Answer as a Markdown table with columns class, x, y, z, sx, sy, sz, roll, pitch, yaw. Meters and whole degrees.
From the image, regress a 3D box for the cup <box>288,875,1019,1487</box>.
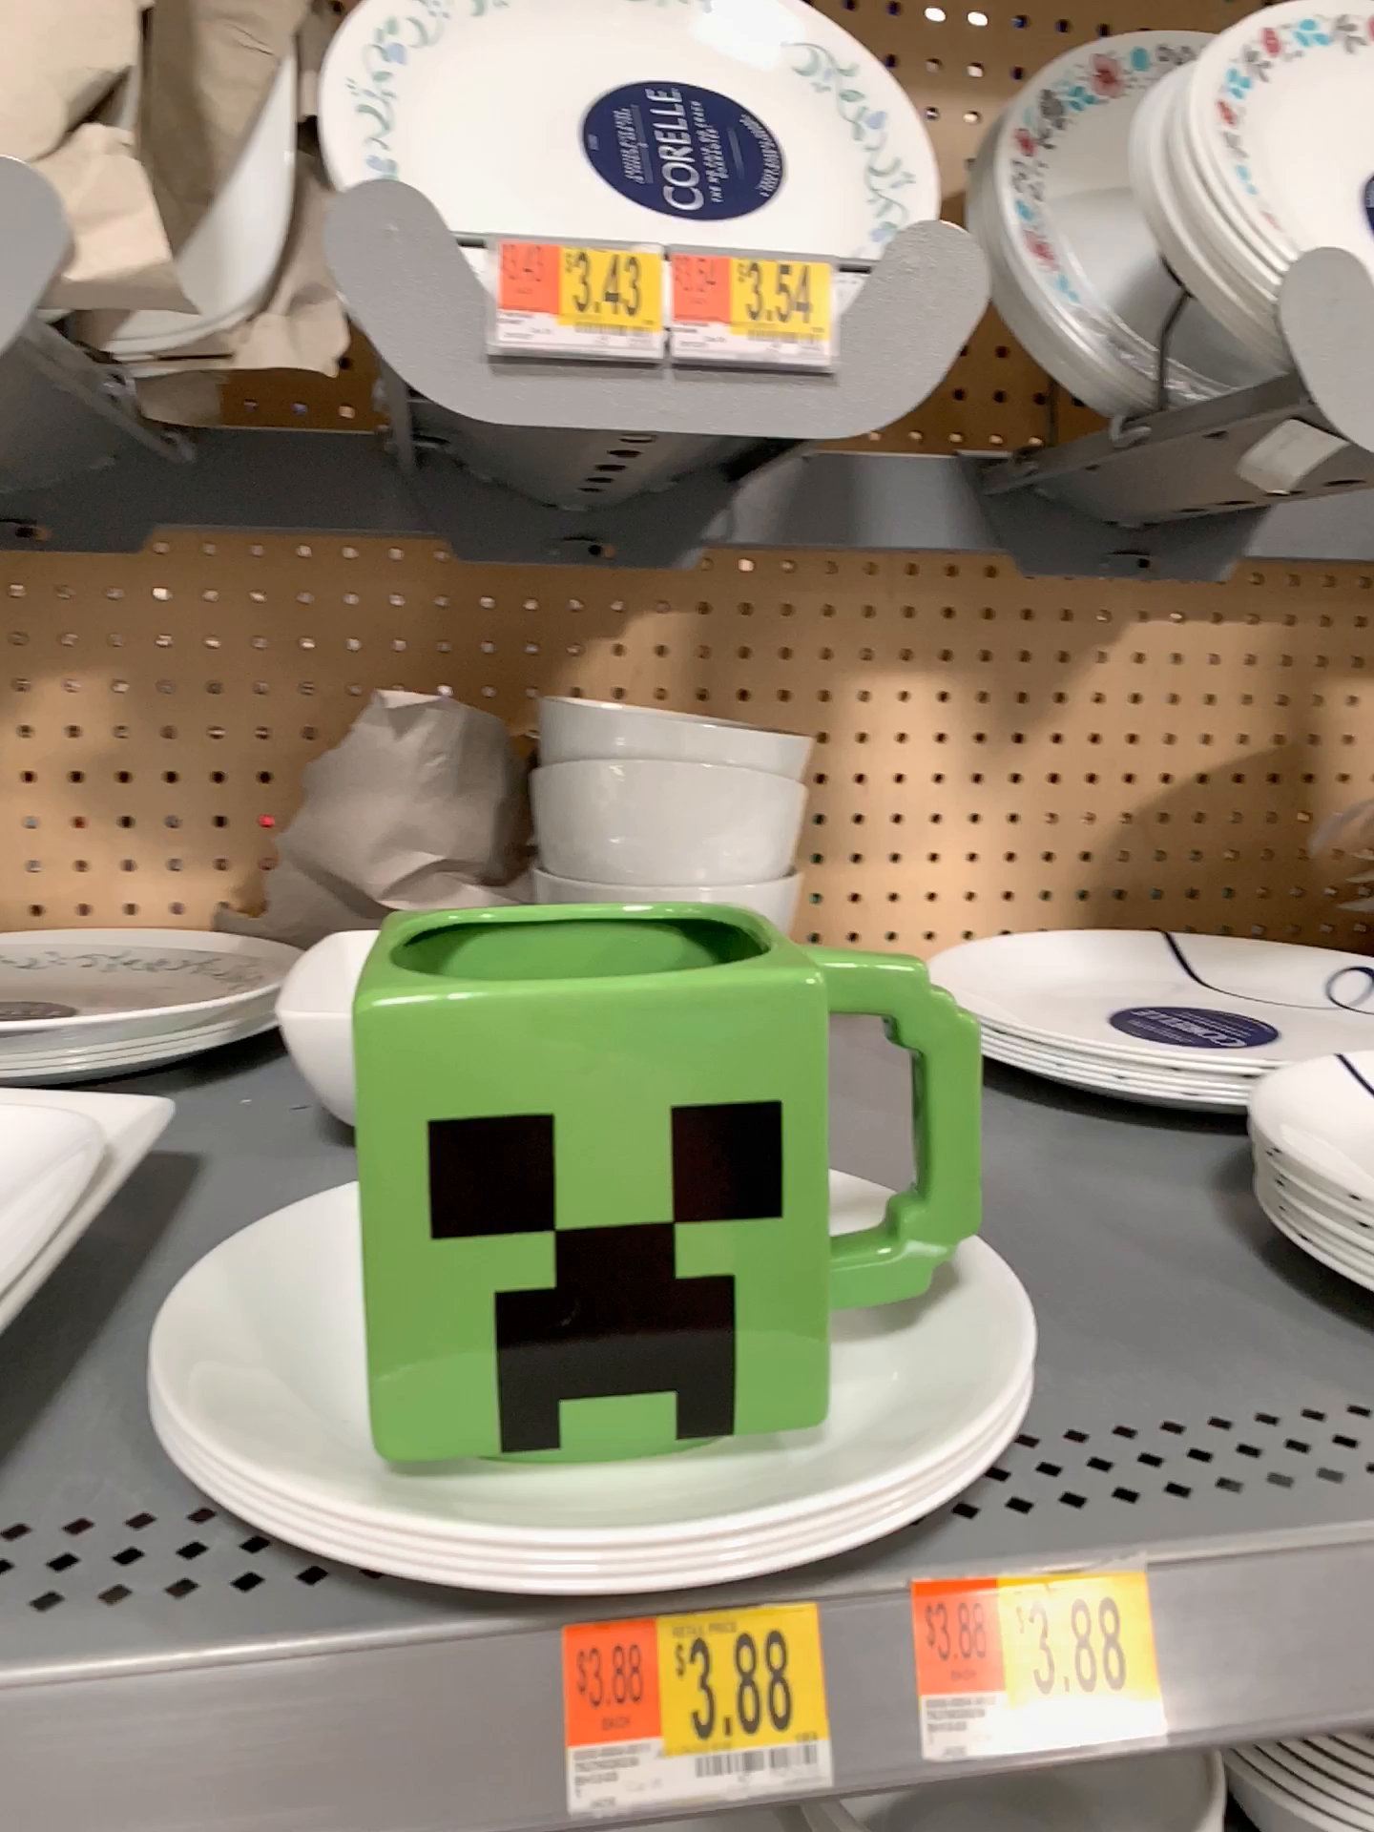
| class | x | y | z | sx | sy | sz | roll | pitch | yaw |
| --- | --- | --- | --- | --- | --- | --- | --- | --- | --- |
| cup | -0.012 | 0.051 | 0.332 | 0.142 | 0.104 | 0.106 | -1 | 10 | -8 |
